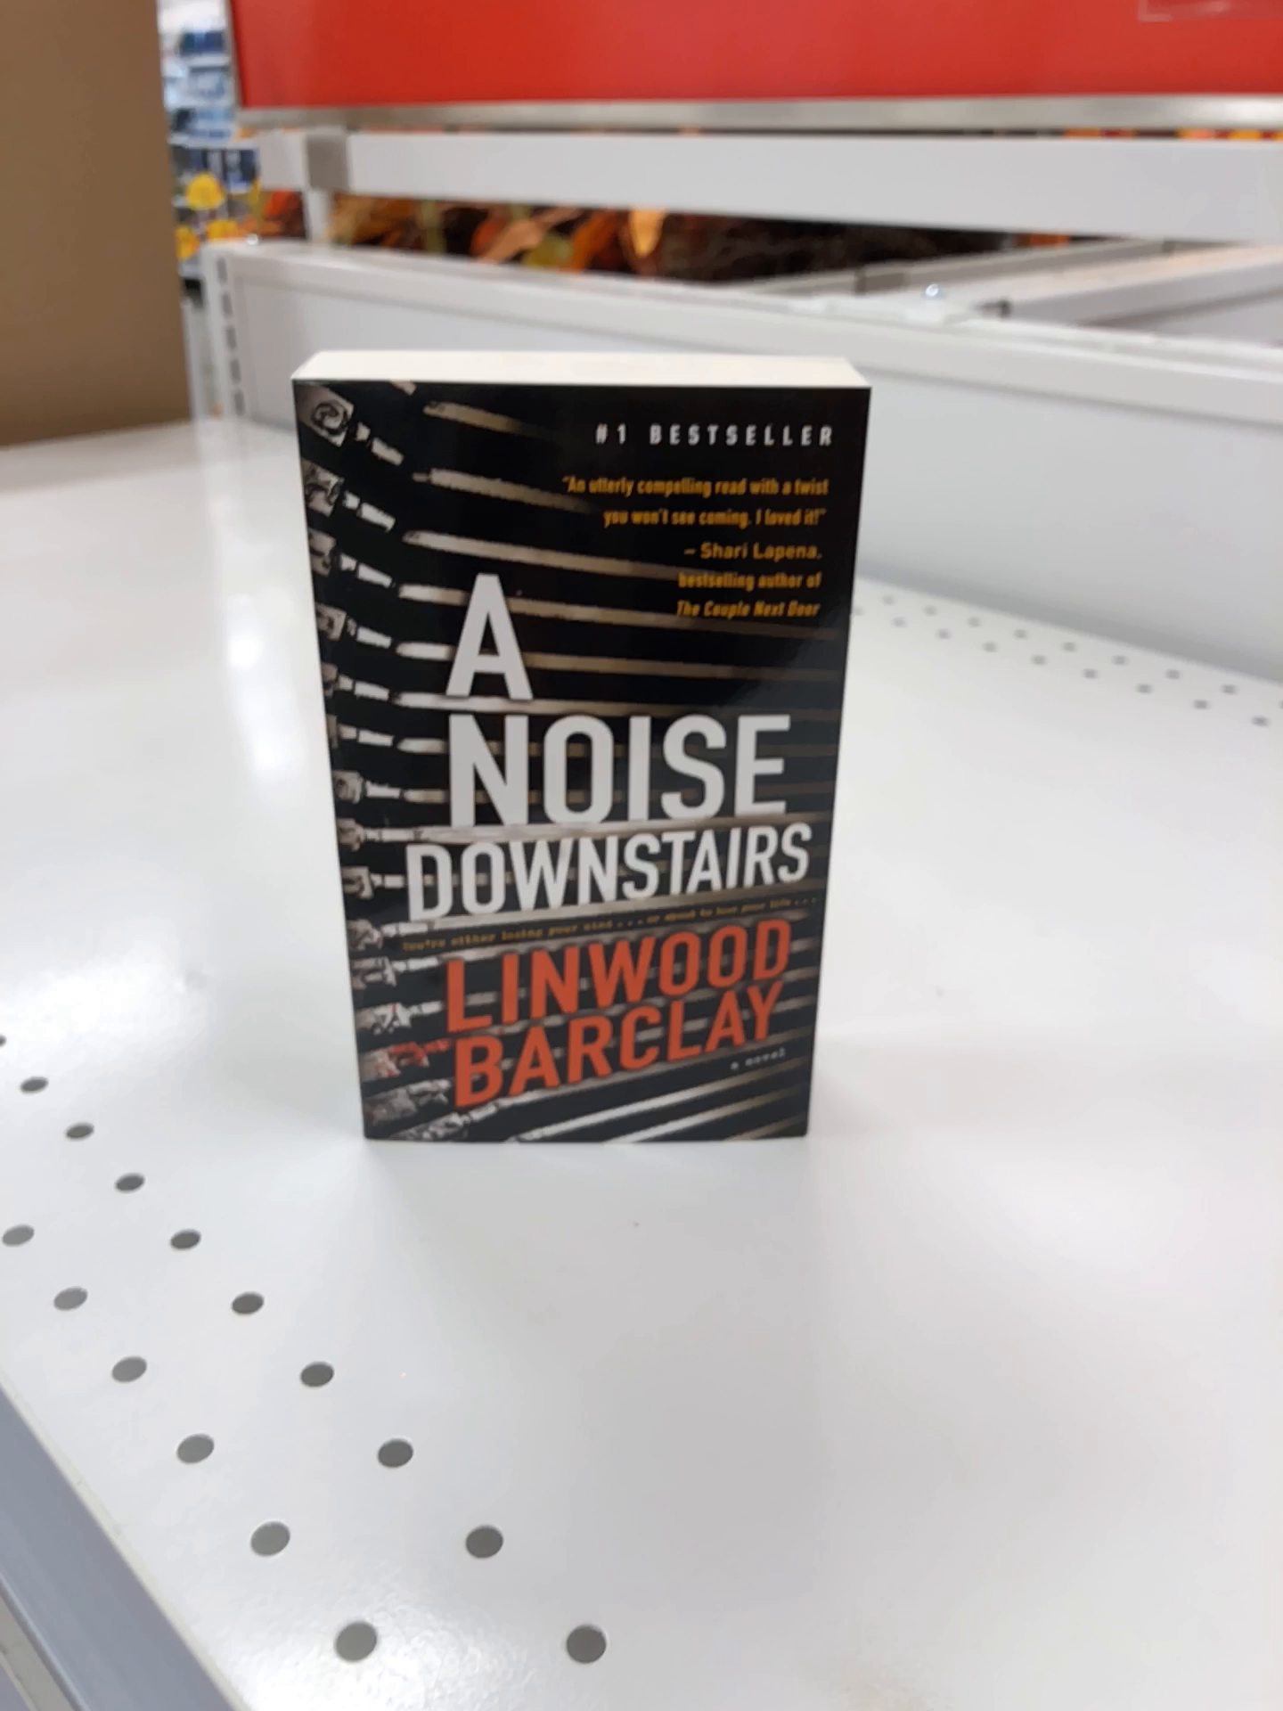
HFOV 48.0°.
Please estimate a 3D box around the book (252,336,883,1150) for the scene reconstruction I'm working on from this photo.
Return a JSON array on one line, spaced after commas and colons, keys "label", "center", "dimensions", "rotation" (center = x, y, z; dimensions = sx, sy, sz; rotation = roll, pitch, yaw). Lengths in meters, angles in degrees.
[{"label": "book", "center": [-0.012, -0.018, 0.308], "dimensions": [0.110, 0.170, 0.041], "rotation": [0, 28, 1]}]
